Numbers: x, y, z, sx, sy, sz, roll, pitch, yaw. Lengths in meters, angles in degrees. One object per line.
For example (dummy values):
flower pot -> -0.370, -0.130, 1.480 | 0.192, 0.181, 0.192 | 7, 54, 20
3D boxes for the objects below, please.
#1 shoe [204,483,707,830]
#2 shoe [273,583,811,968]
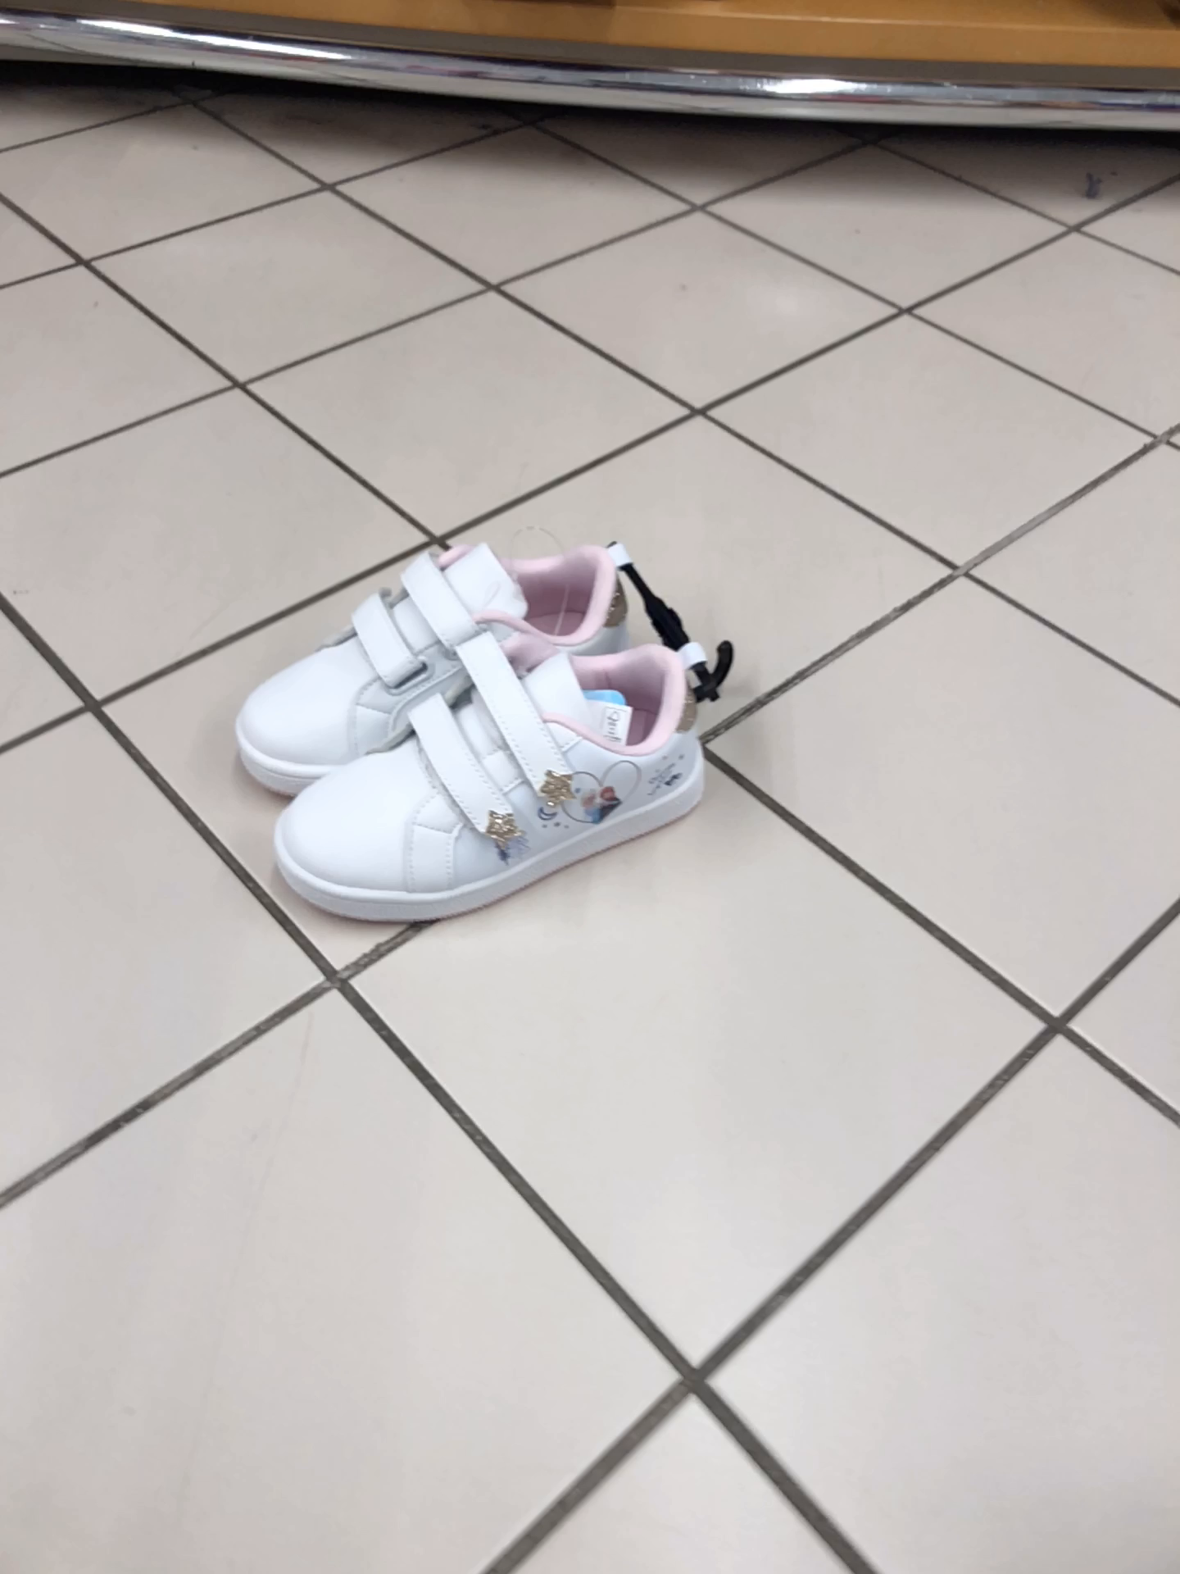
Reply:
shoe -> -0.057, -0.063, 0.585 | 0.201, 0.070, 0.080 | -19, 51, -19
shoe -> -0.019, -0.010, 0.546 | 0.201, 0.070, 0.080 | -19, 51, -19
